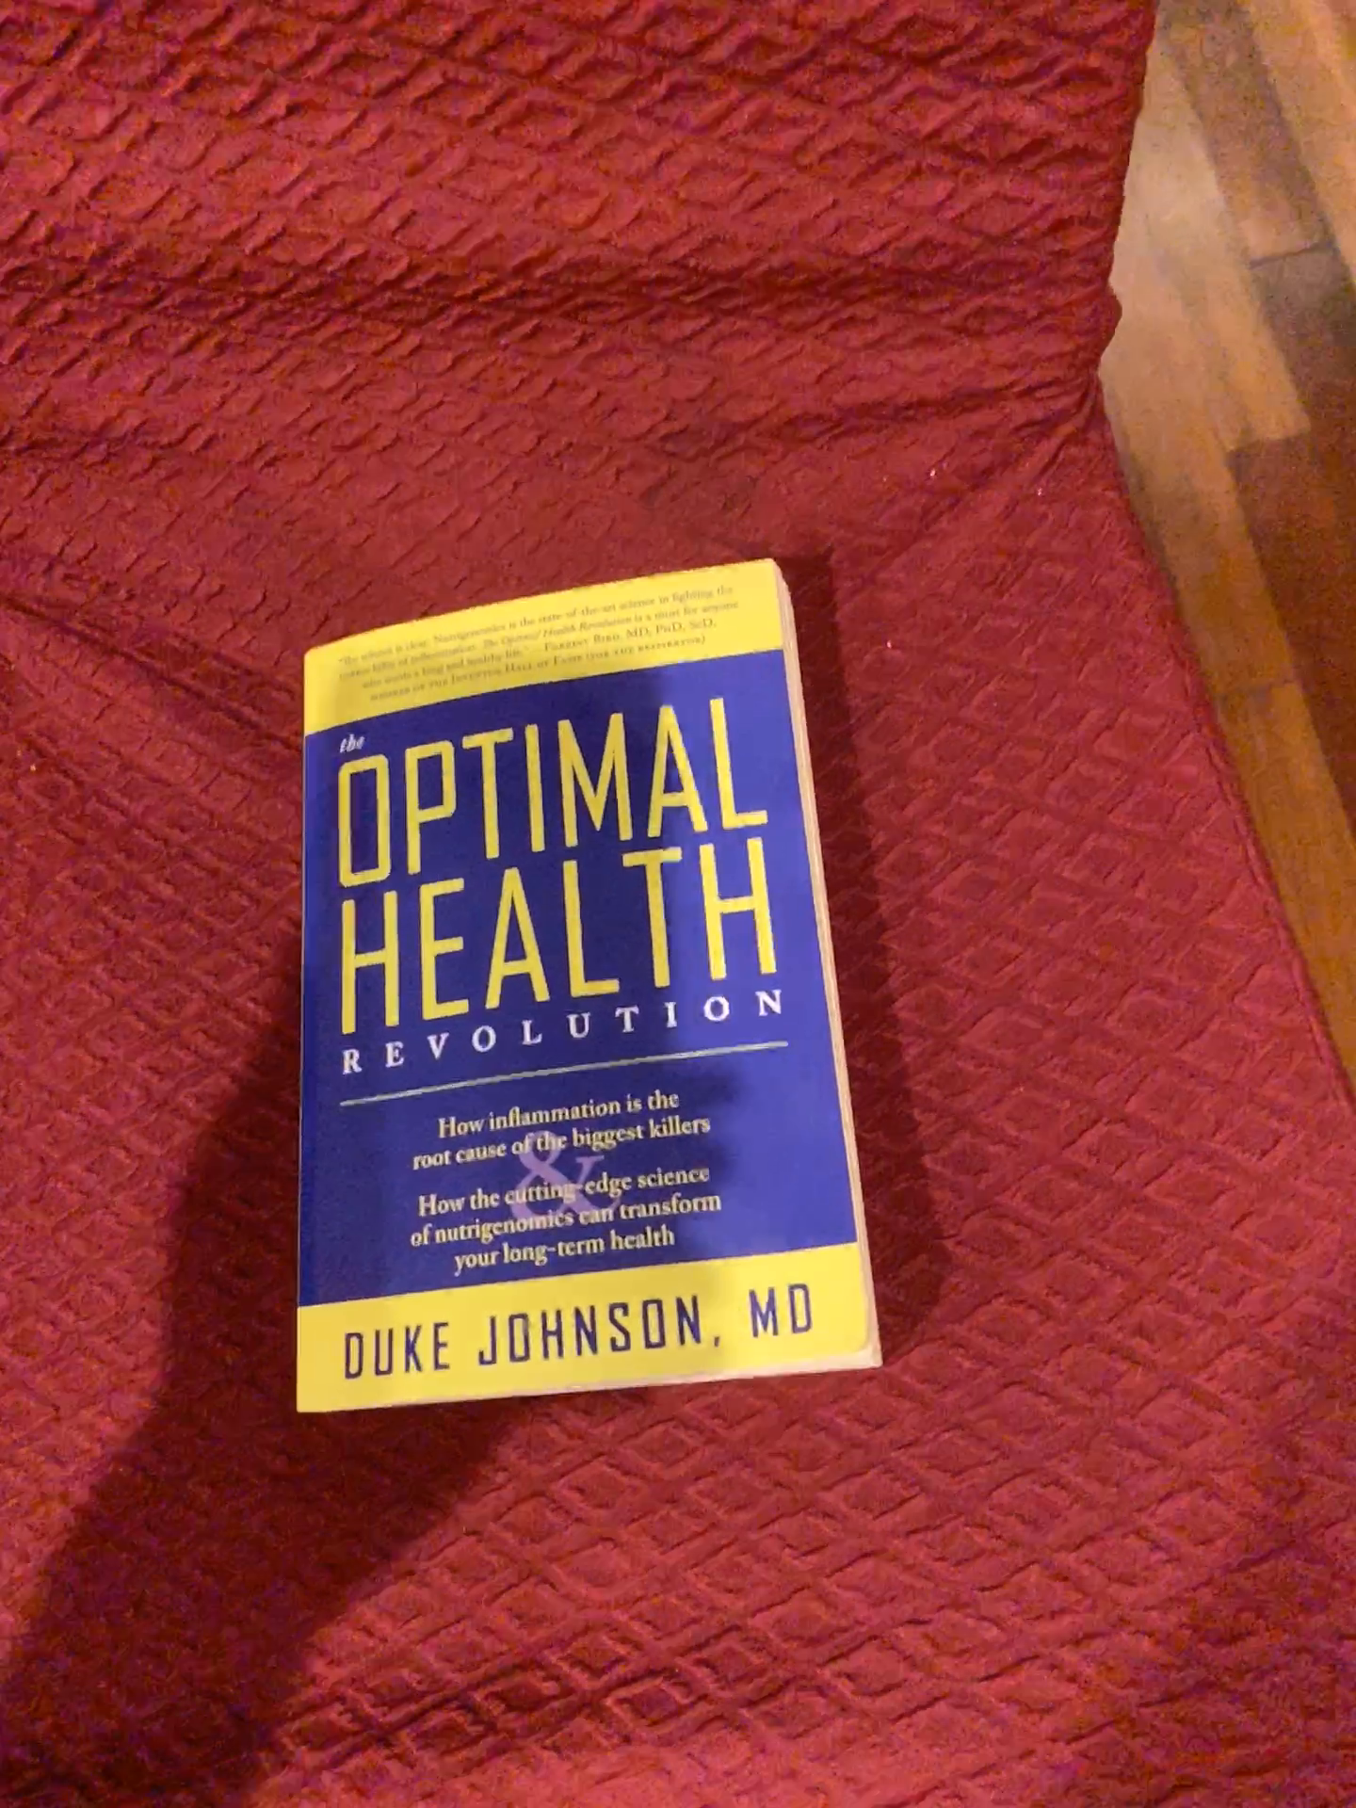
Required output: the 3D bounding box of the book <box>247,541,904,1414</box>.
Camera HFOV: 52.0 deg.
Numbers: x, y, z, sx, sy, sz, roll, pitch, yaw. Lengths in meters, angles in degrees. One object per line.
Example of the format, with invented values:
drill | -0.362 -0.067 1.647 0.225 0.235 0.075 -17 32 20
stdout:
book | -0.032 0.022 0.399 0.161 0.060 0.222 -8 71 10
